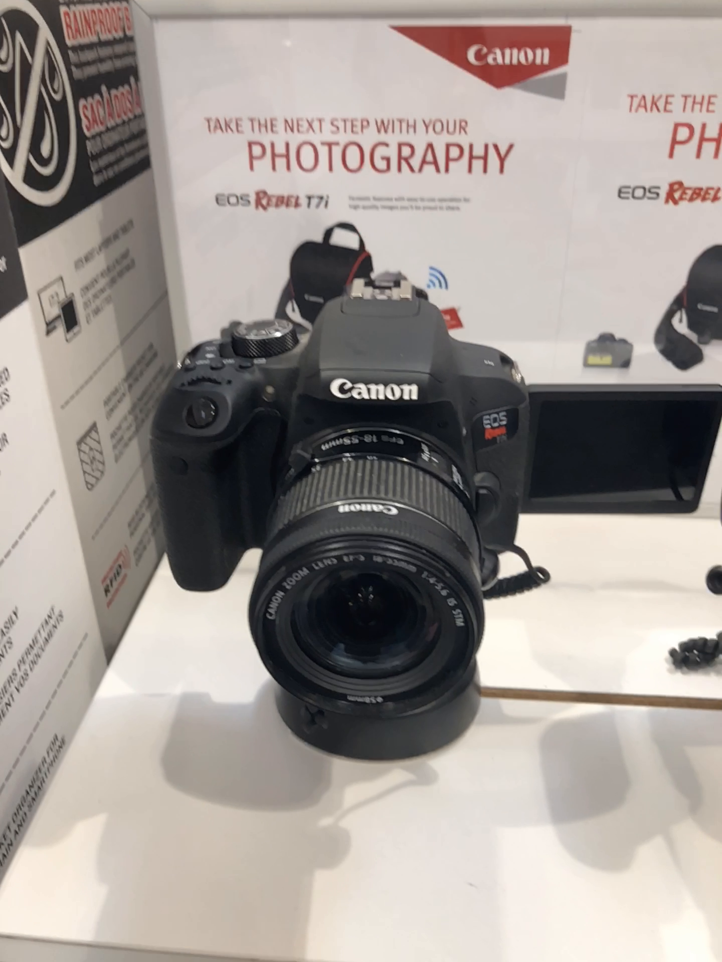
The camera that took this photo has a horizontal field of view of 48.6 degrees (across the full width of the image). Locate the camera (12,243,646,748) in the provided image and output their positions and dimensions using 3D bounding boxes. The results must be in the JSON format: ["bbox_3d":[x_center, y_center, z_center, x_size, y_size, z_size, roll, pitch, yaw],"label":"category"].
[{"bbox_3d":[-0.004,-0.009,0.266,0.140,0.099,0.151,1,31,3],"label":"camera"}]
